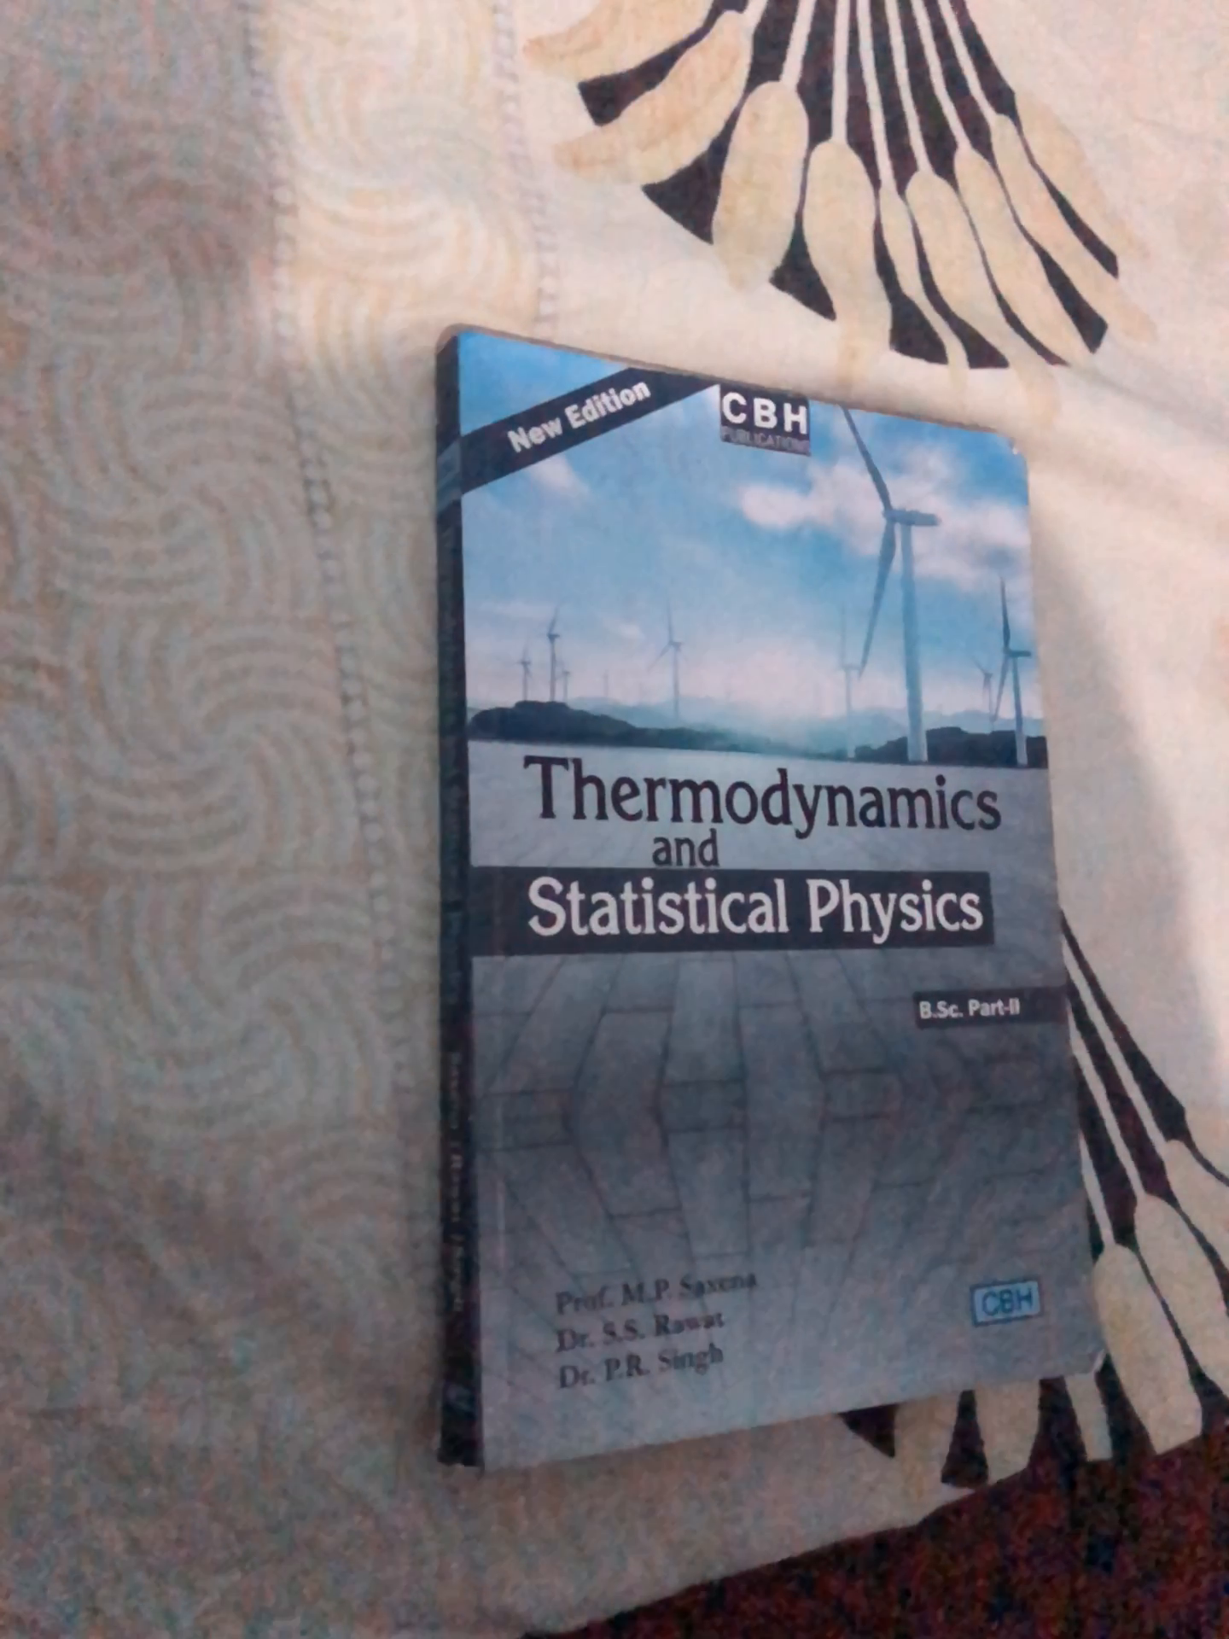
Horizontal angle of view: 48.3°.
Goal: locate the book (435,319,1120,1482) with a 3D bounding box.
[{"bbox_3d":[0.043,0.016,0.333,0.170,0.030,0.240,1,85,-25],"label":"book"}]
